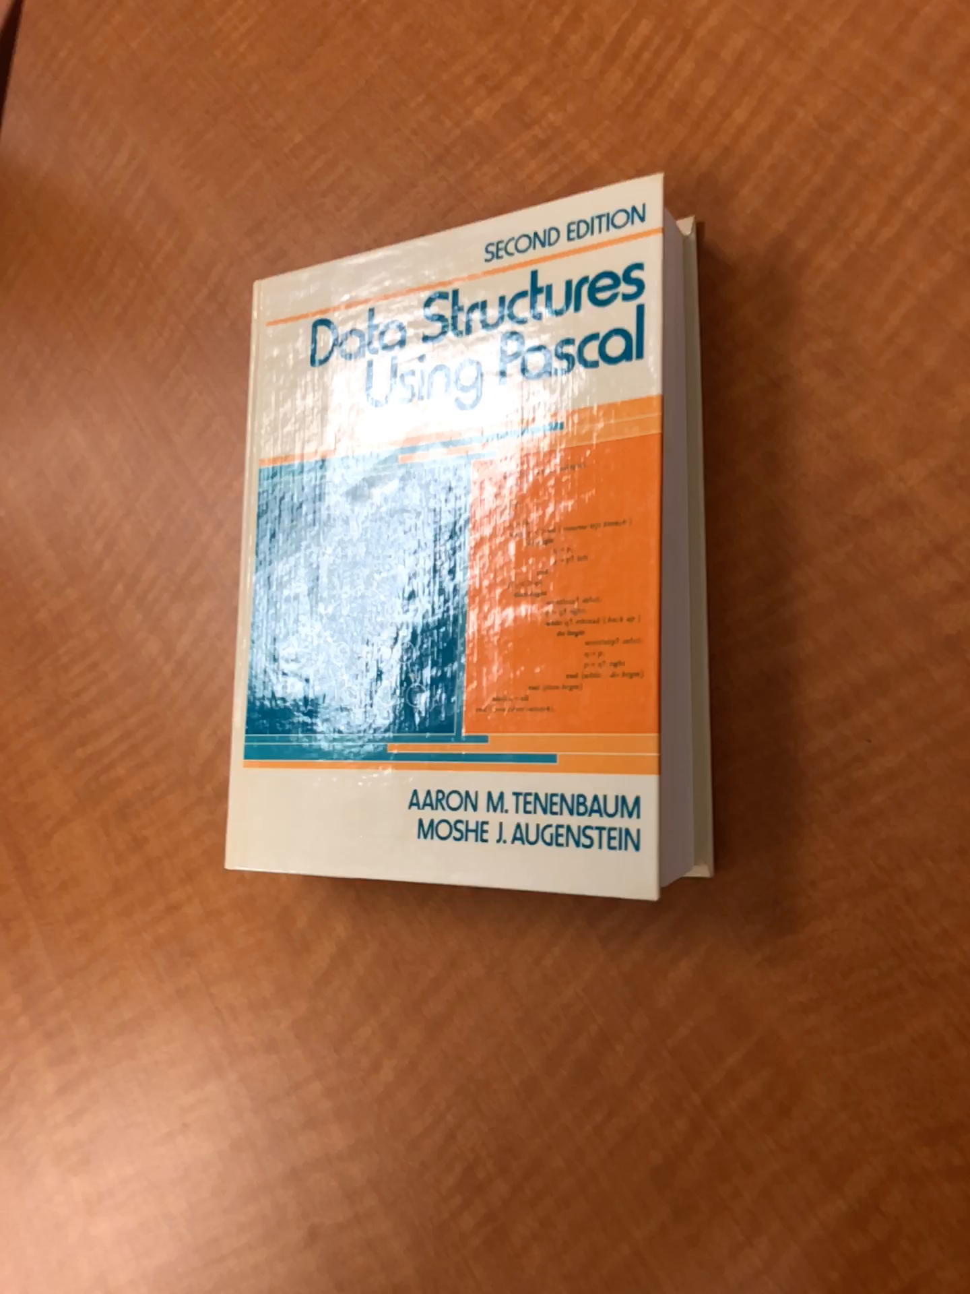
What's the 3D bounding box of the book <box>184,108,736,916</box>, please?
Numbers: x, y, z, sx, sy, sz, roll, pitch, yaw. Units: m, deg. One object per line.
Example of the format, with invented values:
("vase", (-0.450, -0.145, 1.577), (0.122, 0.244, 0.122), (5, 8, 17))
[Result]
("book", (-0.013, -0.041, 0.402), (0.200, 0.050, 0.260), (-4, 80, 29))
